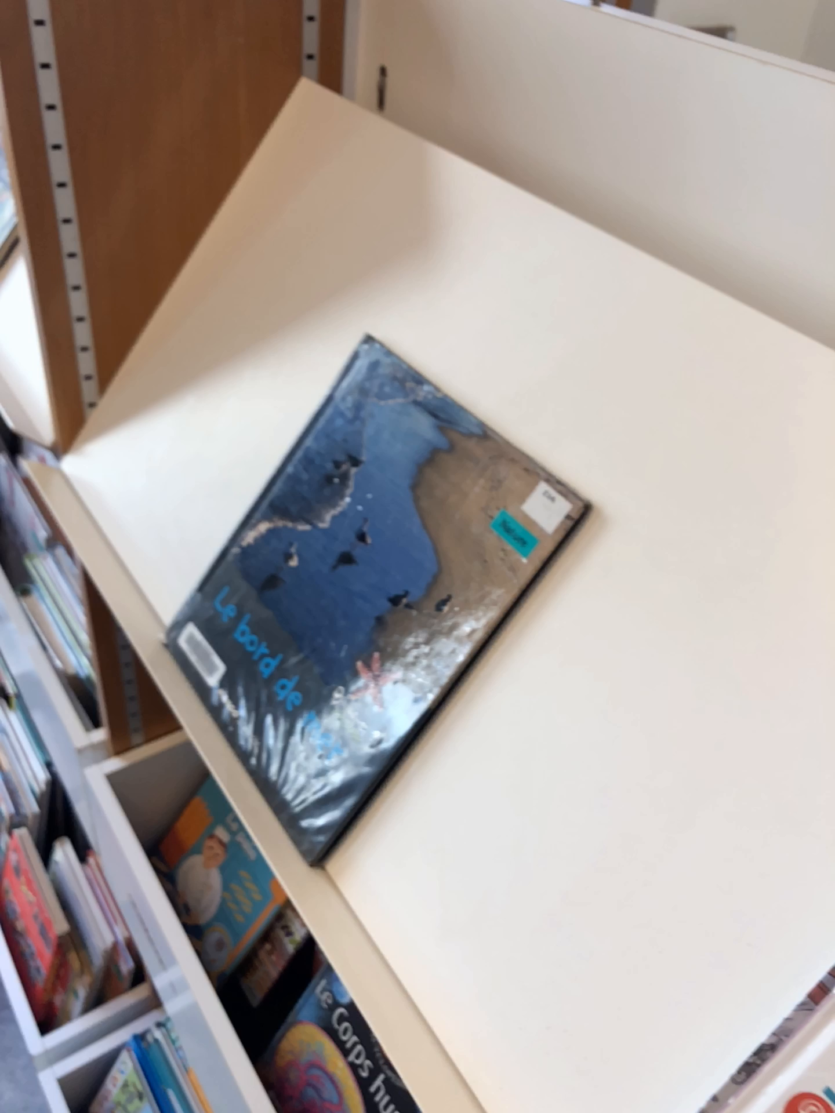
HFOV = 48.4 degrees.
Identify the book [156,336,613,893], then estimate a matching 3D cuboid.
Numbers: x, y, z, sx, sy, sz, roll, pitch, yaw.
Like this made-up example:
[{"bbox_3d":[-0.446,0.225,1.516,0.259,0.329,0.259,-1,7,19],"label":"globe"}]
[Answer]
[{"bbox_3d":[-0.039,0.023,0.535,0.020,0.244,0.209,23,18,-50],"label":"book"}]
